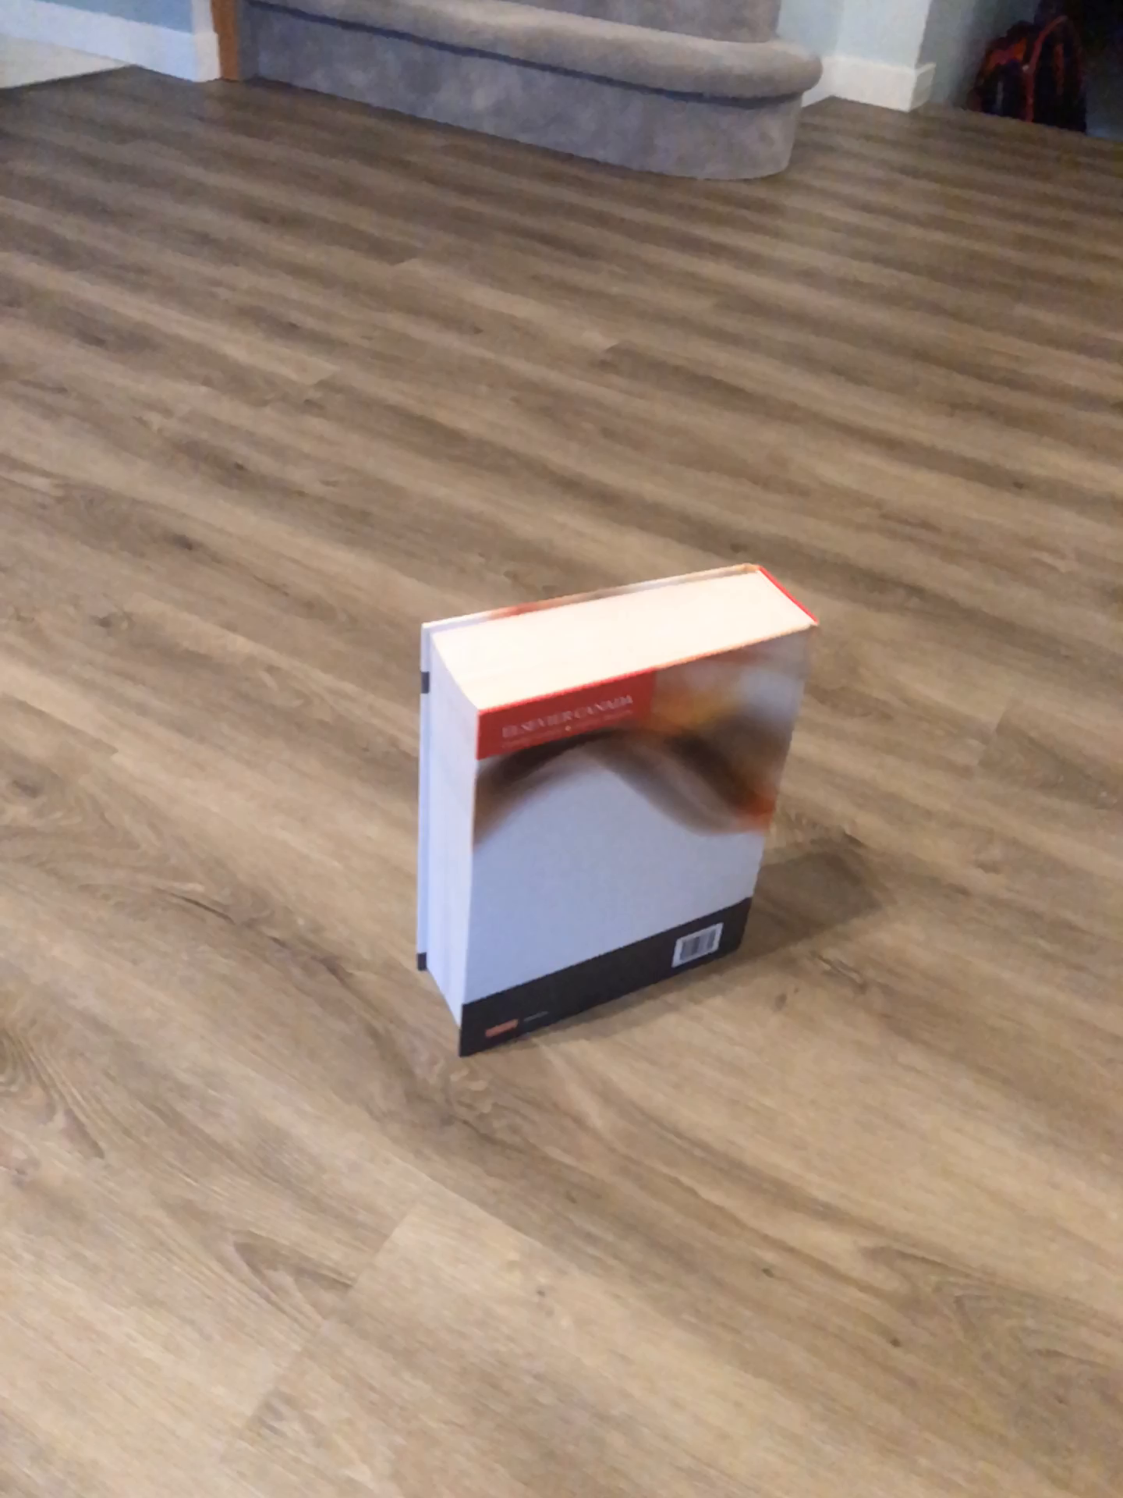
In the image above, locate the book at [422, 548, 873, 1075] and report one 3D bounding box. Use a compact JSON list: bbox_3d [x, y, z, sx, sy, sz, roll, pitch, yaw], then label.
[{"bbox_3d":[0.041,0.041,0.779,0.240,0.290,0.087,-13,41,-23],"label":"book"}]
